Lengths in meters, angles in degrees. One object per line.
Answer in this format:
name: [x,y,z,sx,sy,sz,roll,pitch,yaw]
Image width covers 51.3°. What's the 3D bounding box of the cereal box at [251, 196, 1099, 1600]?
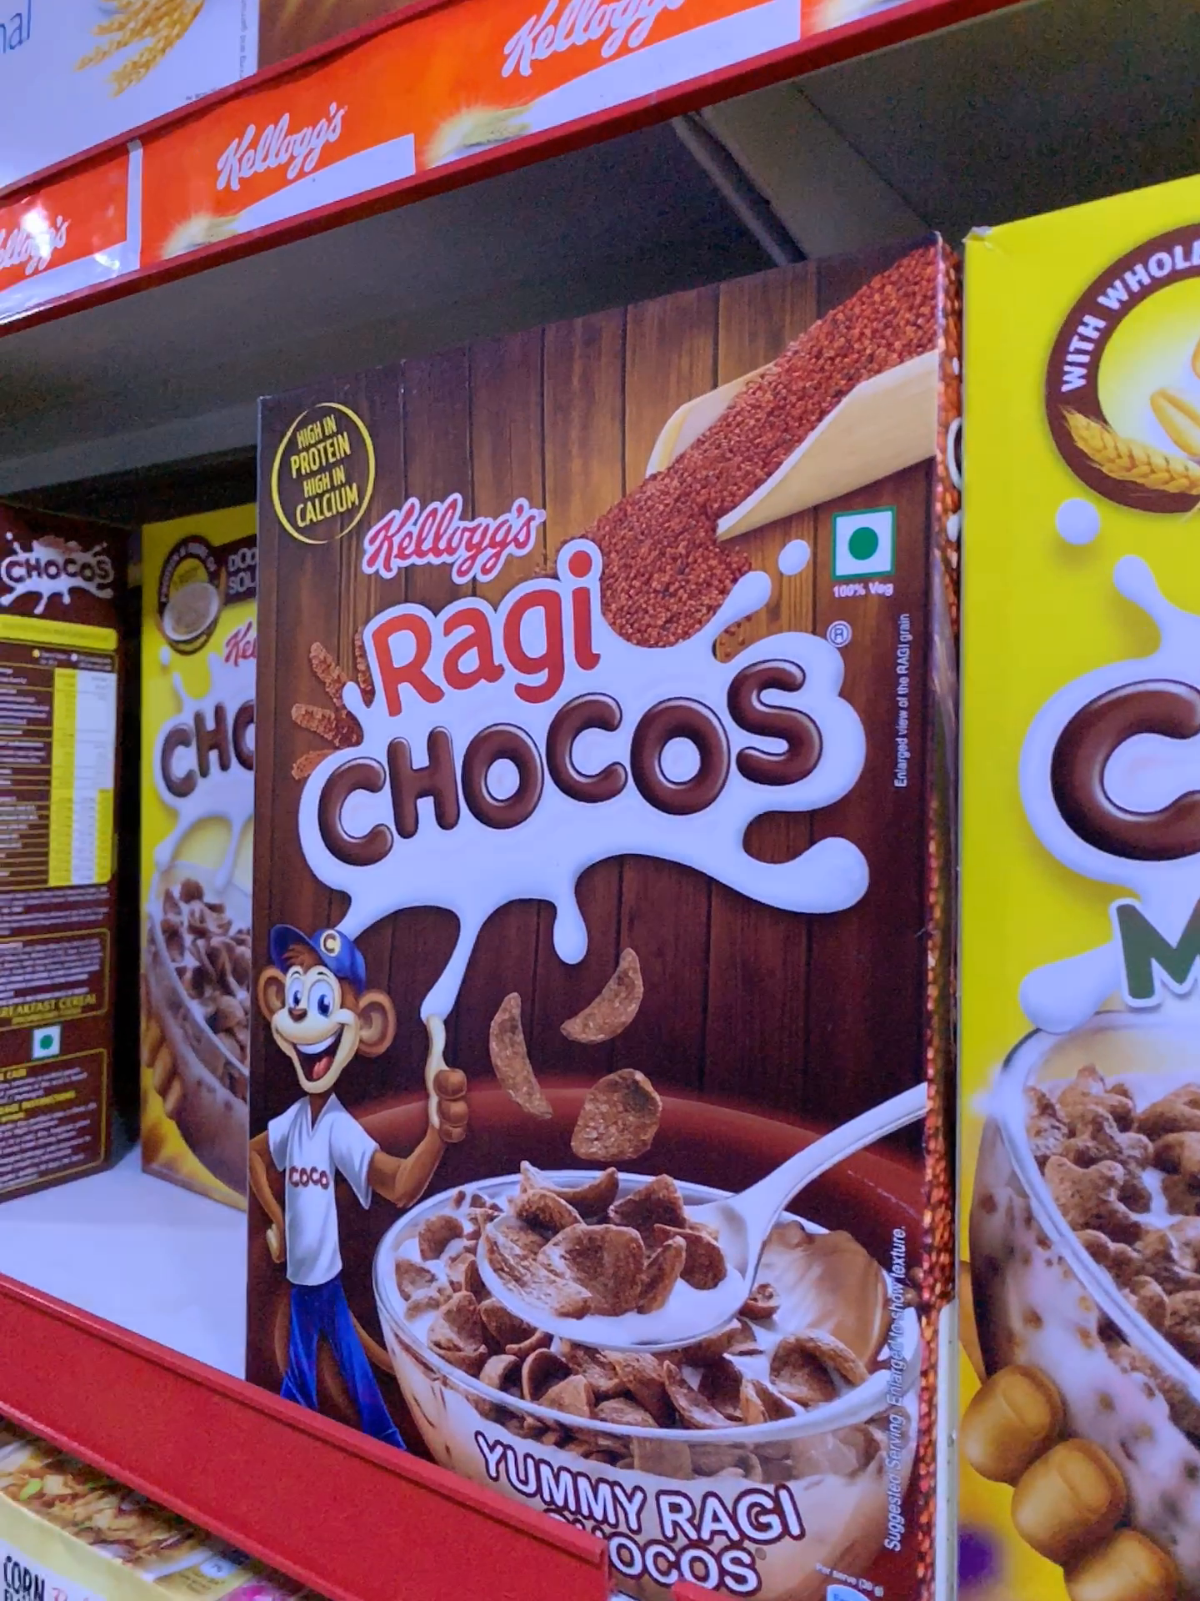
cereal box: [0.006,0.025,0.271,0.180,0.240,0.060,1,0,38]
